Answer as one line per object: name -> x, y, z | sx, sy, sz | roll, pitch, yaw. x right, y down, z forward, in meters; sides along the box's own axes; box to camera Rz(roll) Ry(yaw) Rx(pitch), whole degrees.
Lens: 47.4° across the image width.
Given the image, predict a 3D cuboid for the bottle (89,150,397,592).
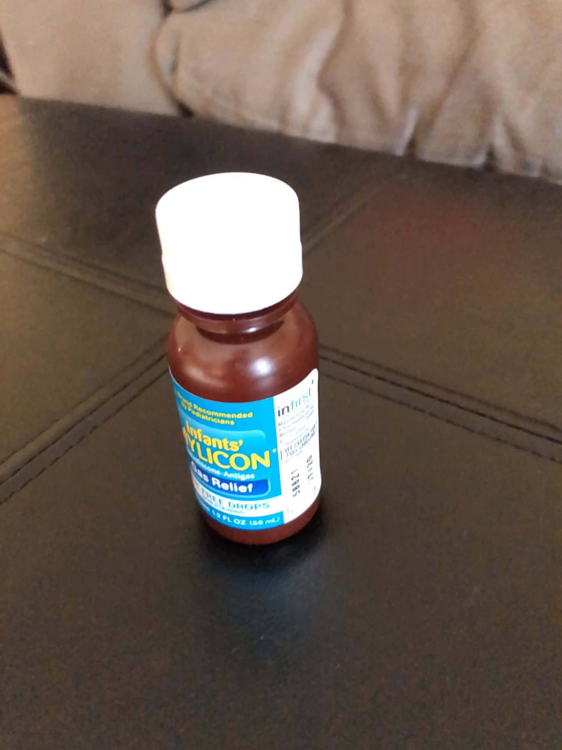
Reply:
bottle -> -0.002, 0.000, 0.138 | 0.040, 0.080, 0.040 | -3, 39, 3
